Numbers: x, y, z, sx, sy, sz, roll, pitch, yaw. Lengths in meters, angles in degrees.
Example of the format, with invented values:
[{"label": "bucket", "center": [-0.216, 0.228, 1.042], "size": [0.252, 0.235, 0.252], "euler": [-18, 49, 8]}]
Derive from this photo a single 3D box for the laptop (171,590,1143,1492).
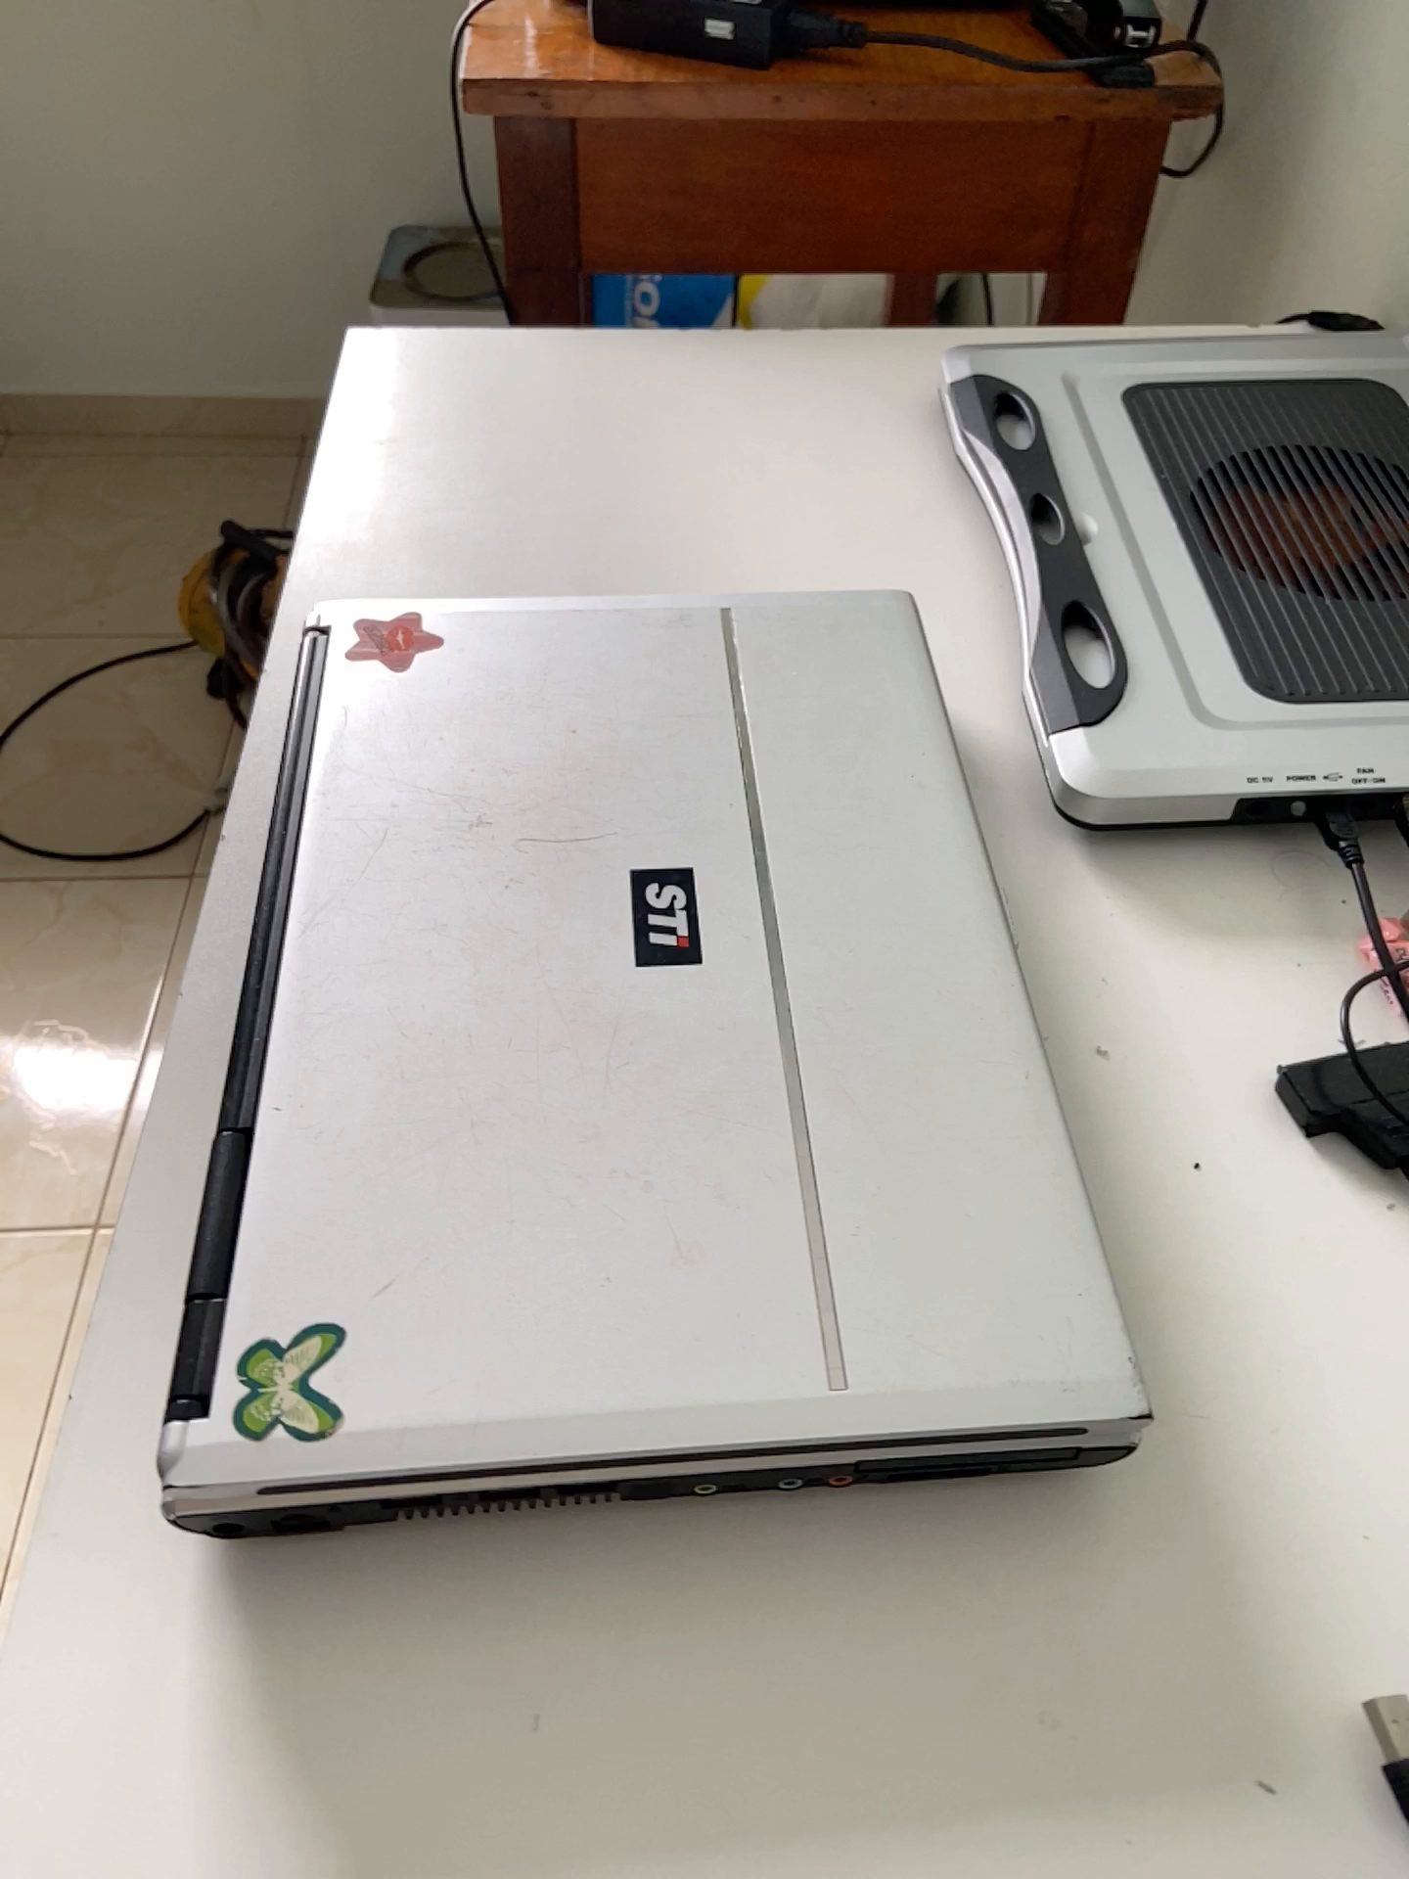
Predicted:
[{"label": "laptop", "center": [-0.019, -0.005, 0.461], "size": [0.234, 0.004, 0.340], "euler": [-2, 49, -4]}]
